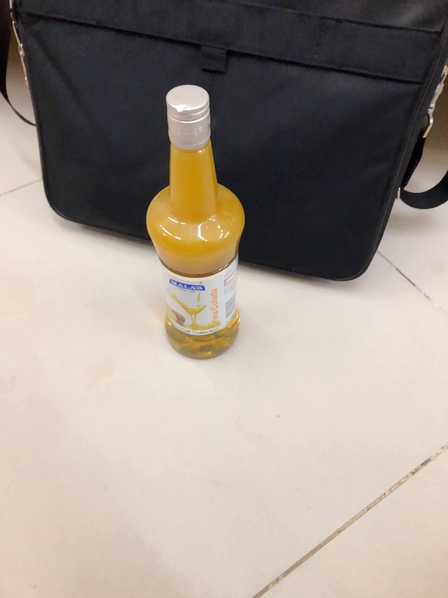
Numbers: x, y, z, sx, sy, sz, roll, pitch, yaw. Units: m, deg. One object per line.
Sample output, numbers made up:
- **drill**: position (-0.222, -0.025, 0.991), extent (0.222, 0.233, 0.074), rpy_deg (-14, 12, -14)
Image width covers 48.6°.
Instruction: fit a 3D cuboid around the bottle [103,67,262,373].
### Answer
- **bottle**: position (-0.025, -0.043, 0.444), extent (0.090, 0.288, 0.081), rpy_deg (8, 55, 5)
